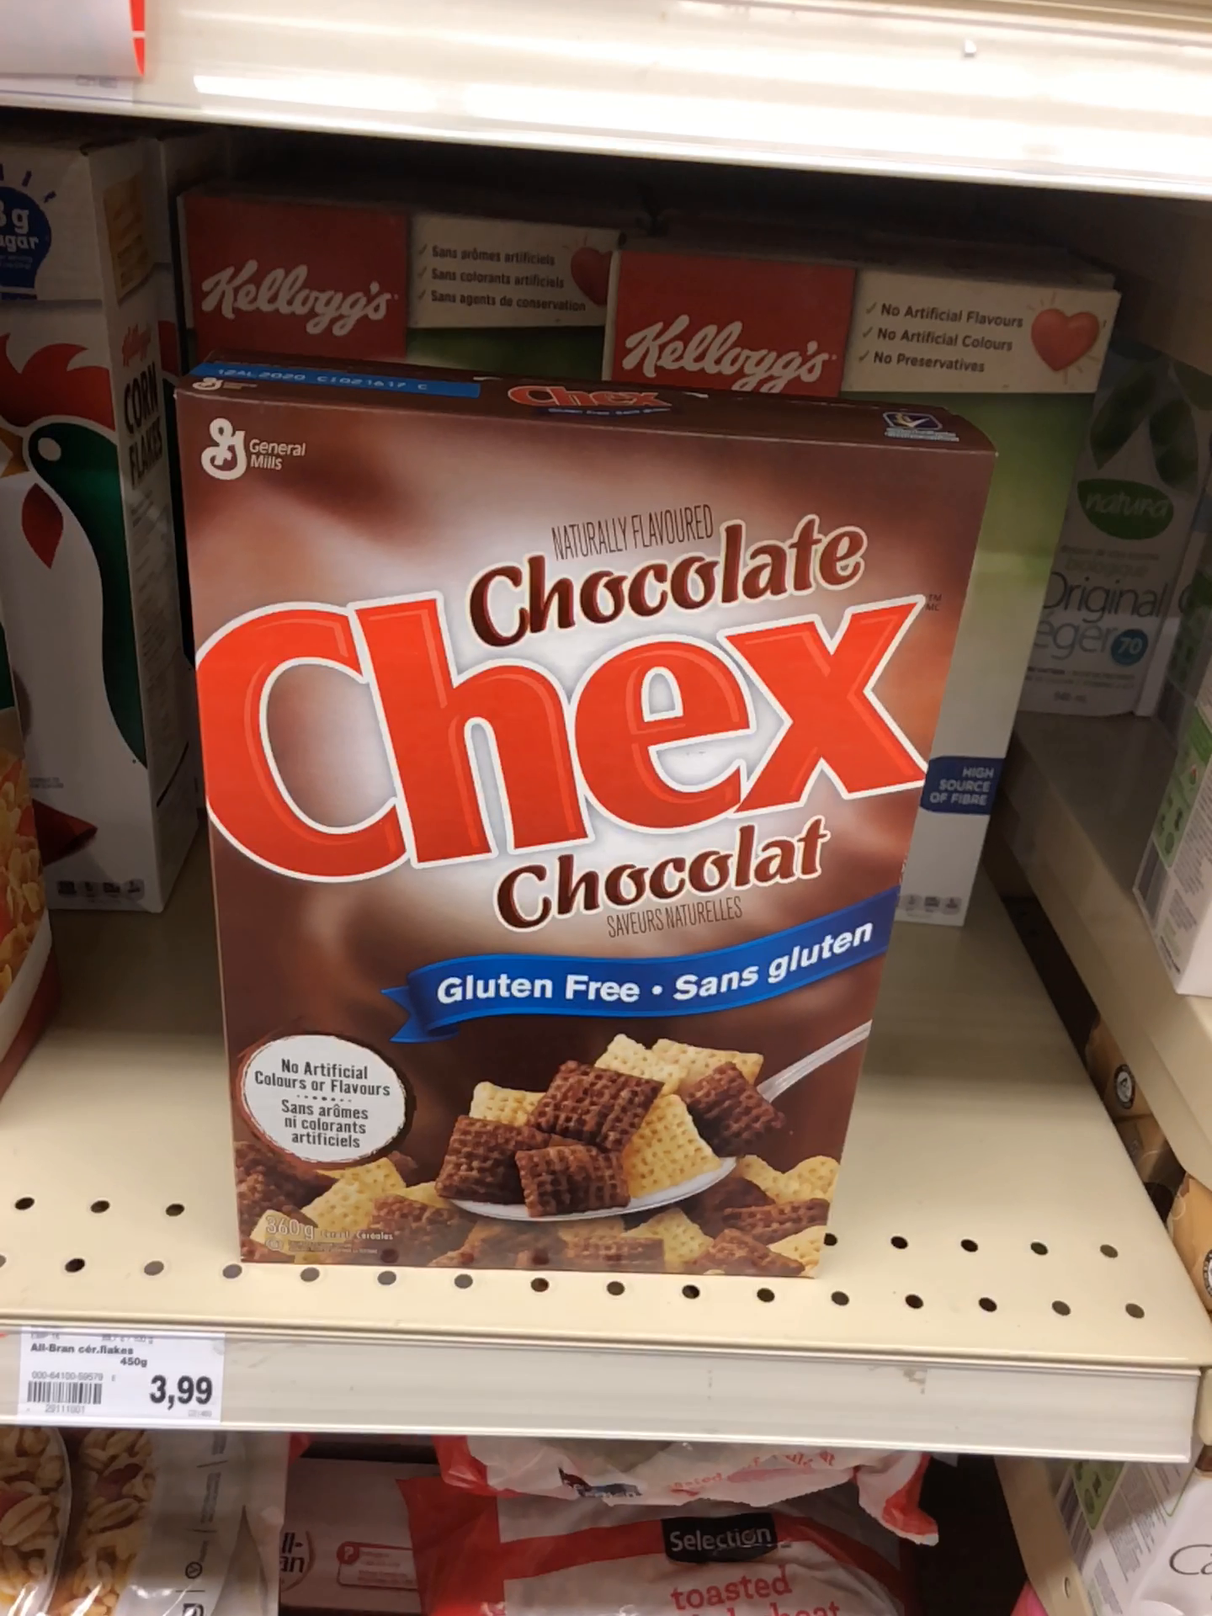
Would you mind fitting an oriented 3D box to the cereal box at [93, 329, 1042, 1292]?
[{"bbox_3d":[-0.017,0.019,0.386,0.210,0.278,0.050,3,30,-3],"label":"cereal box"}]
